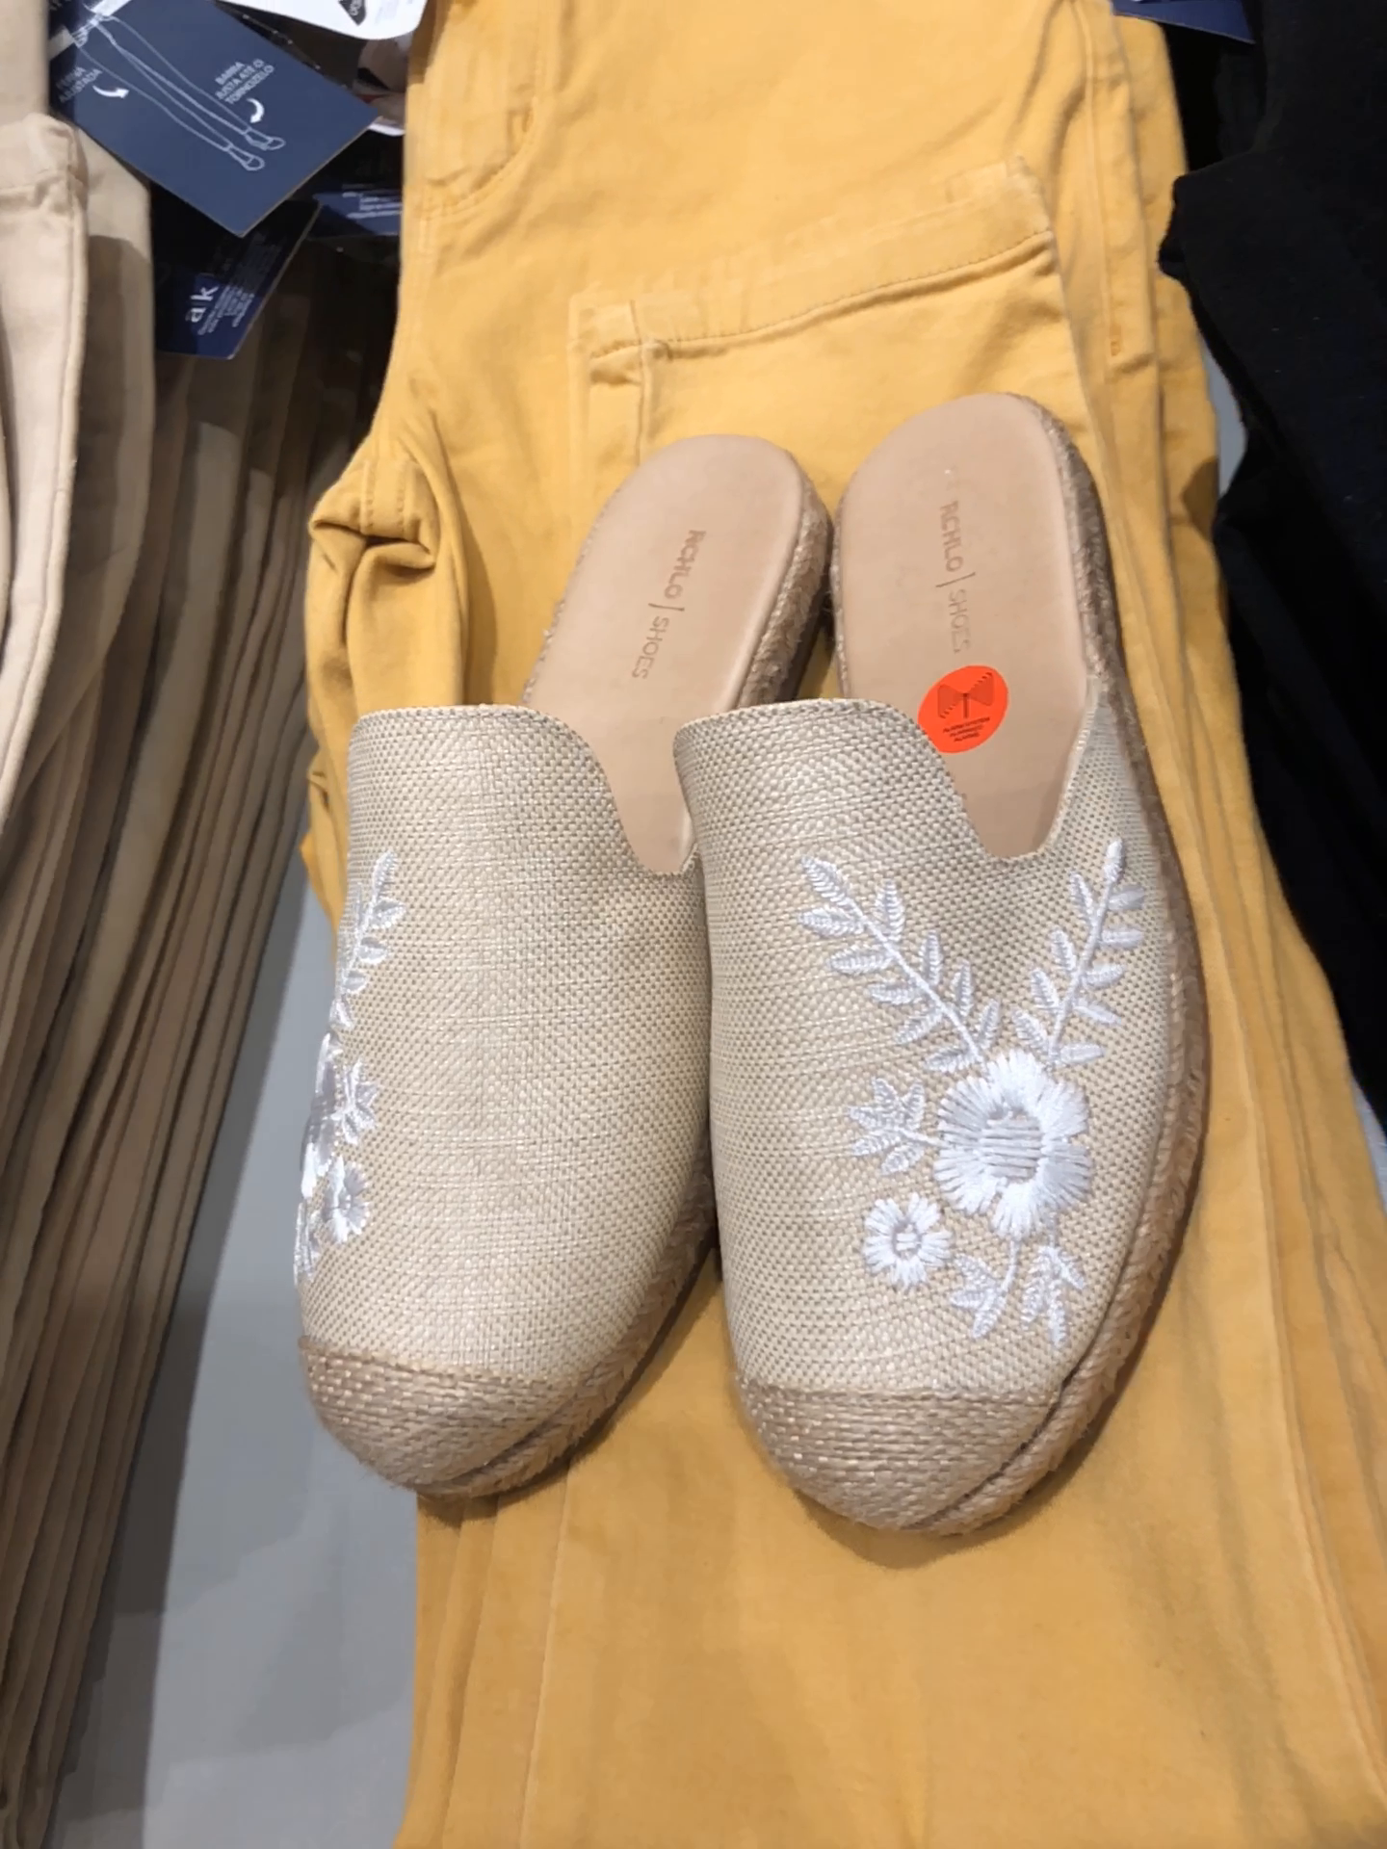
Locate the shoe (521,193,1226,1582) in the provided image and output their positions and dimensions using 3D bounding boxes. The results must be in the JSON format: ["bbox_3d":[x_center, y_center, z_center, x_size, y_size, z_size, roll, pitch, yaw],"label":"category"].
[{"bbox_3d":[0.045,-0.017,0.286,0.090,0.070,0.241,-3,60,22],"label":"shoe"}]

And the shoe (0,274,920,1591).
[{"bbox_3d":[-0.034,-0.012,0.304,0.090,0.070,0.241,6,63,26],"label":"shoe"}]
